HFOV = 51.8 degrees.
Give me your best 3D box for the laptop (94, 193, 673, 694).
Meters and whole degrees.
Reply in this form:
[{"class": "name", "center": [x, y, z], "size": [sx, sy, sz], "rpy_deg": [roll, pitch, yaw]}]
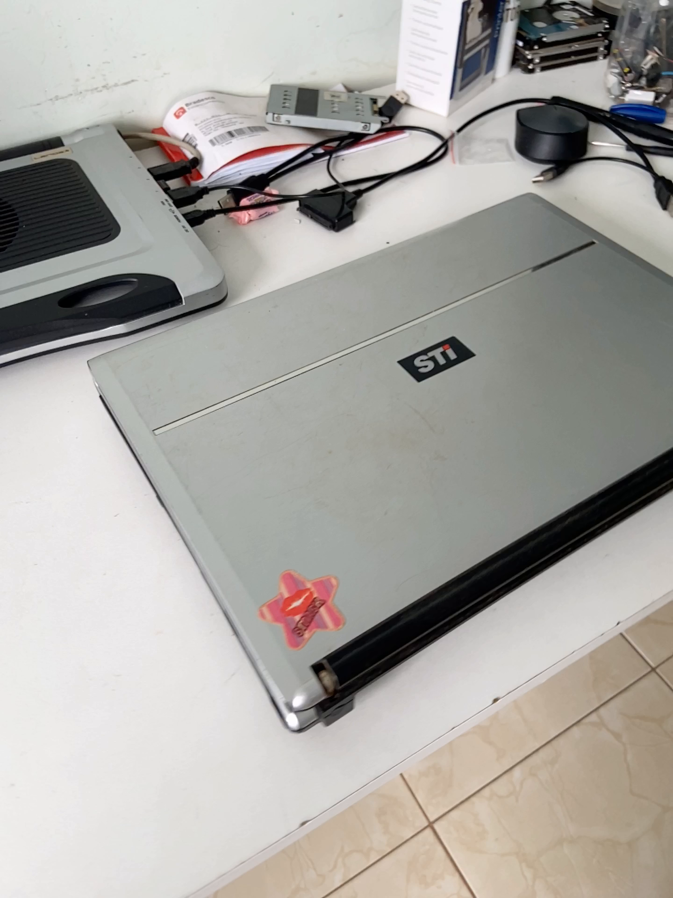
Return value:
[{"class": "laptop", "center": [0.066, -0.046, 0.397], "size": [0.339, 0.004, 0.235], "rpy_deg": [-26, 53, -19]}]
